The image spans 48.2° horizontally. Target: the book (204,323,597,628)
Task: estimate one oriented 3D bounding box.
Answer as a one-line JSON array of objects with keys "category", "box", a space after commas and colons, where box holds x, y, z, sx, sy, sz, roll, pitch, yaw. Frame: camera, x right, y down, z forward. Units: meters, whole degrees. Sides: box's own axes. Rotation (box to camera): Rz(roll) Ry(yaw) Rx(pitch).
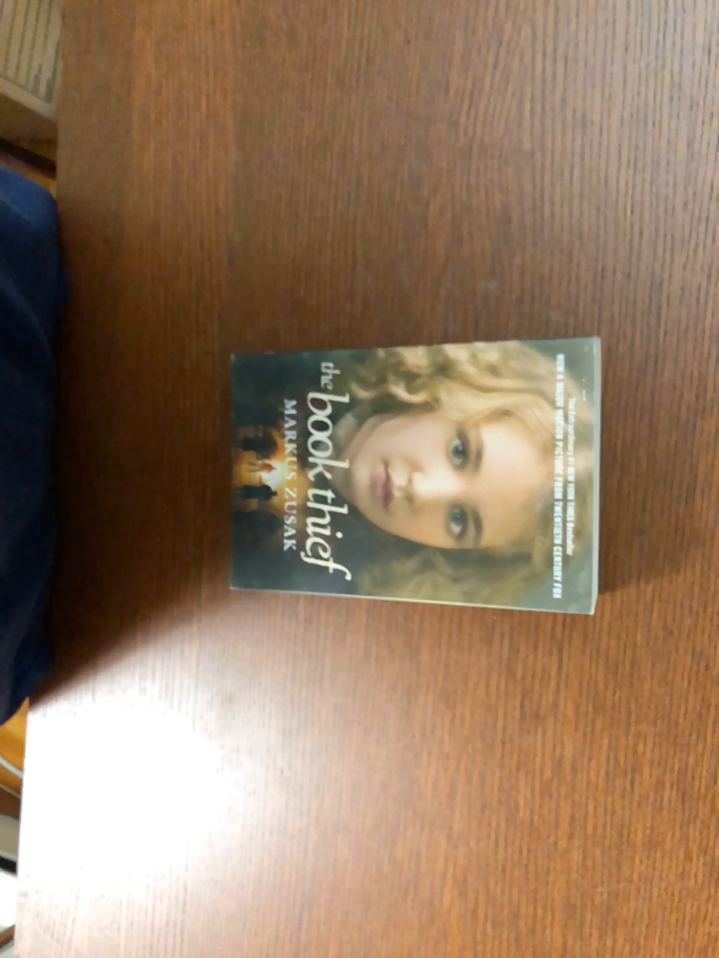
[{"category": "book", "box": [0.016, -0.004, 0.451, 0.220, 0.030, 0.150, 1, 91, 22]}]
